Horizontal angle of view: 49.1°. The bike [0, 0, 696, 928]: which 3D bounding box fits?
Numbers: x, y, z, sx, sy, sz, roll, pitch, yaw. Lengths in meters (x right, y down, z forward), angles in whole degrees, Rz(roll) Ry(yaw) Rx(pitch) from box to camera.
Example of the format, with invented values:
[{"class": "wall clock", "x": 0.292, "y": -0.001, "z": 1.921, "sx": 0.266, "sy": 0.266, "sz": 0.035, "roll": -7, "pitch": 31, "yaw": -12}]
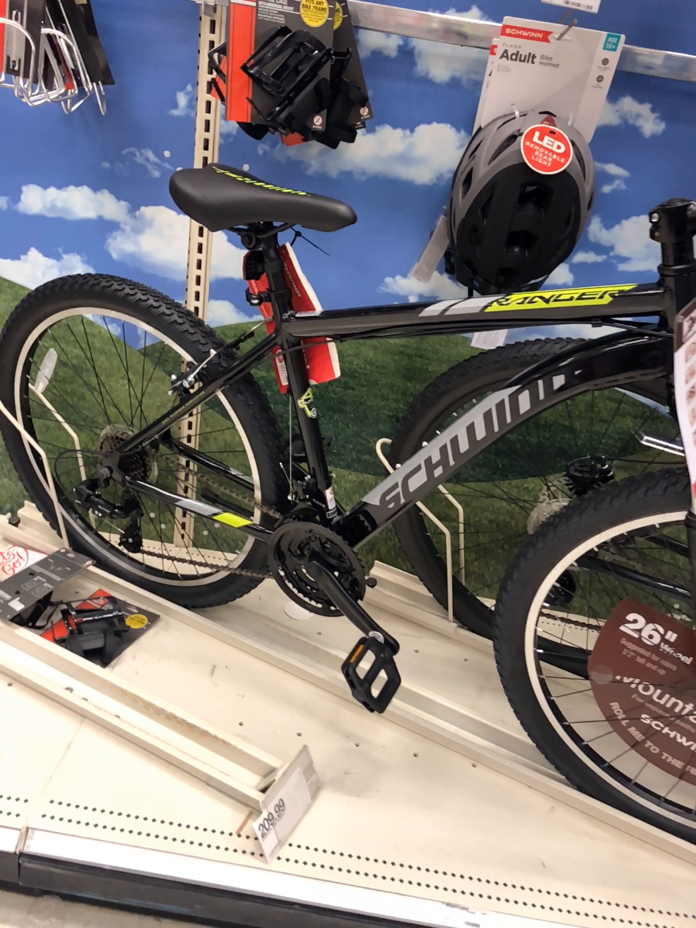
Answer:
[{"class": "bike", "x": 0.041, "y": 0.067, "z": 1.049, "sx": 1.652, "sy": 1.002, "sz": 0.601, "roll": 22, "pitch": 27, "yaw": 21}]
